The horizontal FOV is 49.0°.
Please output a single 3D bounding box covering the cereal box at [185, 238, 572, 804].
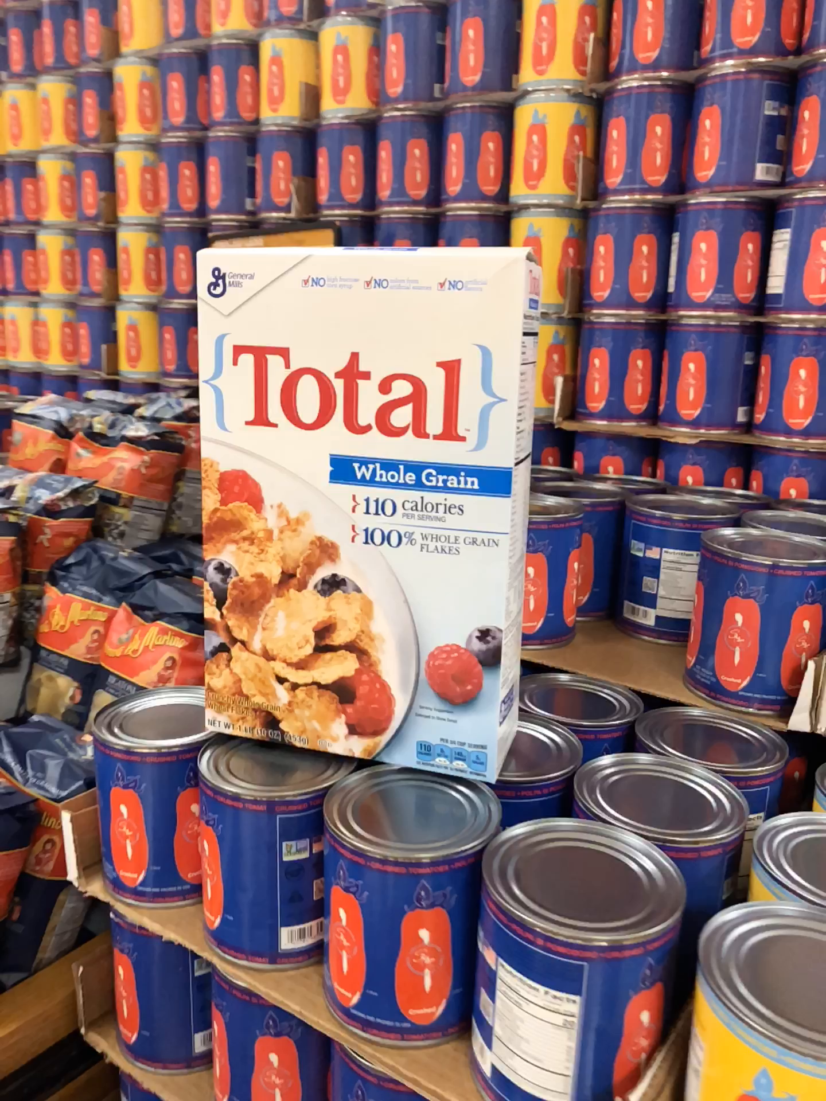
[{"bbox_3d":[-0.025,-0.024,0.551,0.210,0.309,0.070,6,13,18],"label":"cereal box"}]
